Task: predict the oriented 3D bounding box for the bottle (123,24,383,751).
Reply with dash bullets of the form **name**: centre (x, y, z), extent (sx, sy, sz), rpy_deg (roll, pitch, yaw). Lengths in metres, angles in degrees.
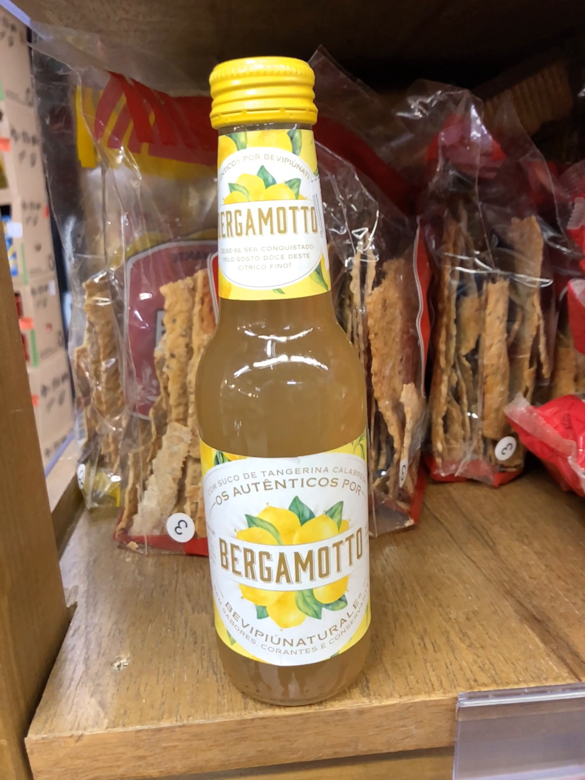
- **bottle**: centre (-0.009, 0.004, 0.205), extent (0.060, 0.199, 0.060), rpy_deg (-2, 15, 0)
